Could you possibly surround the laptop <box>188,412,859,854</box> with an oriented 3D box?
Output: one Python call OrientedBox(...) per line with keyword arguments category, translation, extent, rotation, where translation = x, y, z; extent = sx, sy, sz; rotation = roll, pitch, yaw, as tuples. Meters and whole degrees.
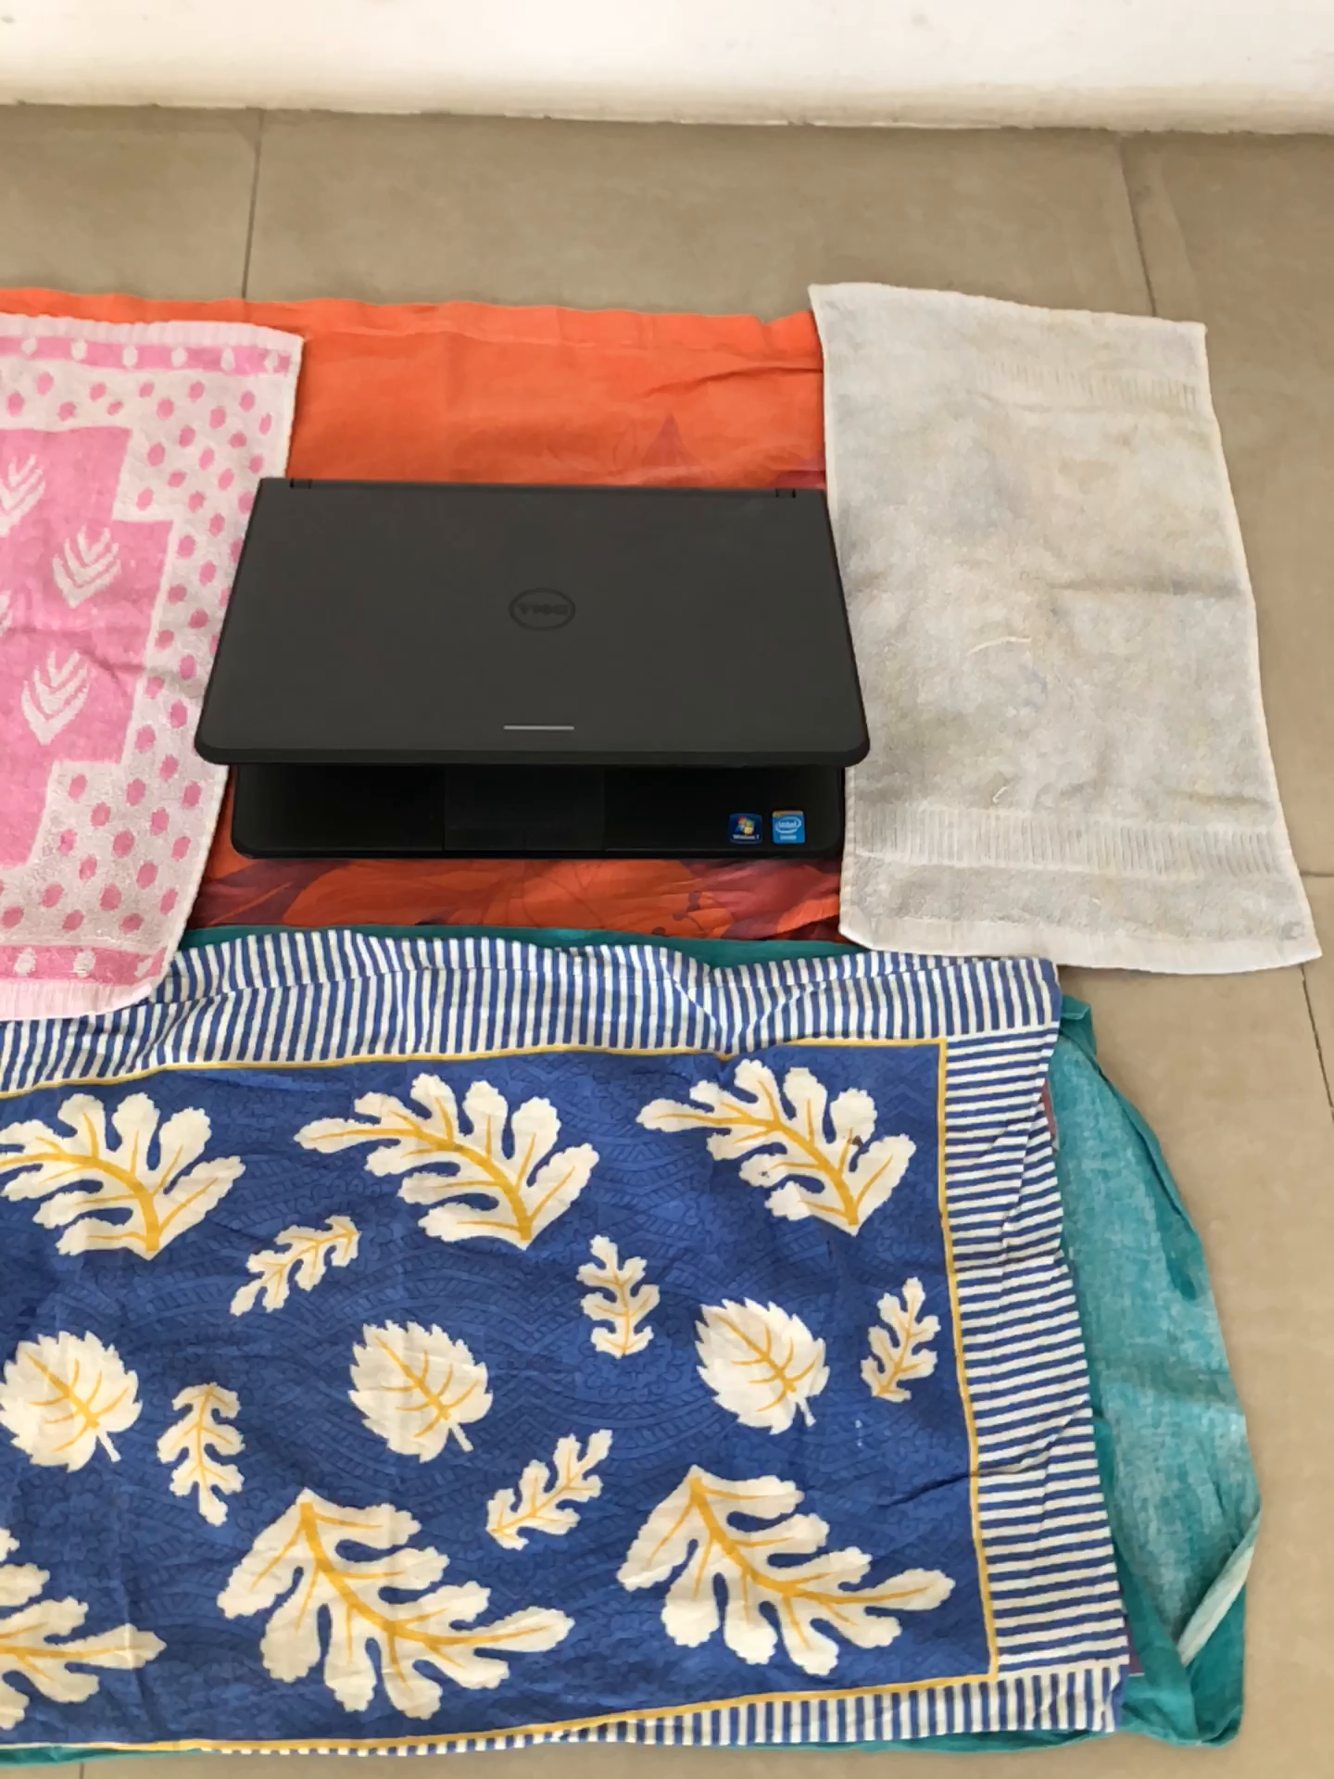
OrientedBox(category="laptop", translation=(-0.072, -0.140, 0.777), extent=(0.314, 0.078, 0.227), rotation=(-1, 64, -4))
